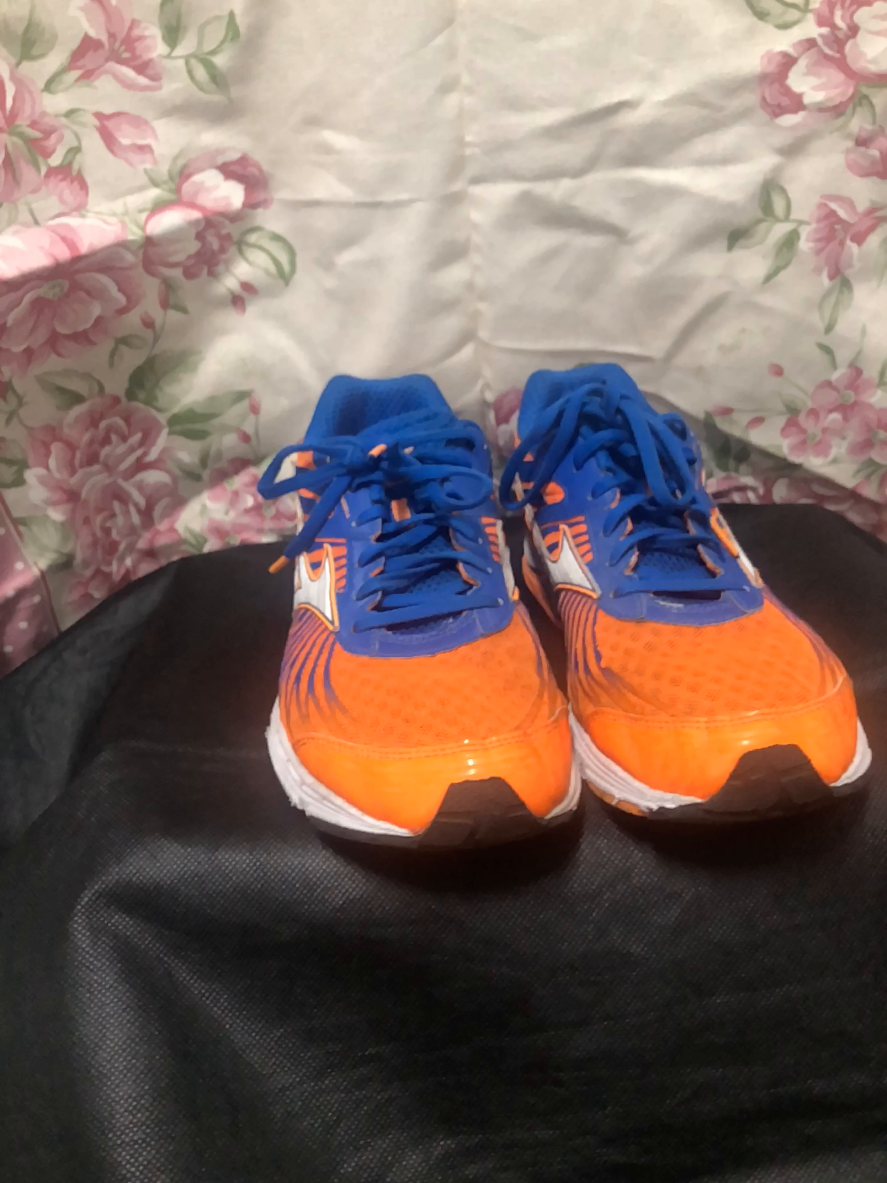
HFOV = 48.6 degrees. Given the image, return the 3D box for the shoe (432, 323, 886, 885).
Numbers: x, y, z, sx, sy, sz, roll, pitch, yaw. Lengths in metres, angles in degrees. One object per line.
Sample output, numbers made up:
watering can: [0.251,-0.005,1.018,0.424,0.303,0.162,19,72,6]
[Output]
shoe: [0.066,-0.018,0.362,0.110,0.109,0.222,-5,26,-6]

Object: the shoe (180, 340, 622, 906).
shoe: [-0.021,-0.012,0.365,0.110,0.109,0.222,-5,26,-6]
